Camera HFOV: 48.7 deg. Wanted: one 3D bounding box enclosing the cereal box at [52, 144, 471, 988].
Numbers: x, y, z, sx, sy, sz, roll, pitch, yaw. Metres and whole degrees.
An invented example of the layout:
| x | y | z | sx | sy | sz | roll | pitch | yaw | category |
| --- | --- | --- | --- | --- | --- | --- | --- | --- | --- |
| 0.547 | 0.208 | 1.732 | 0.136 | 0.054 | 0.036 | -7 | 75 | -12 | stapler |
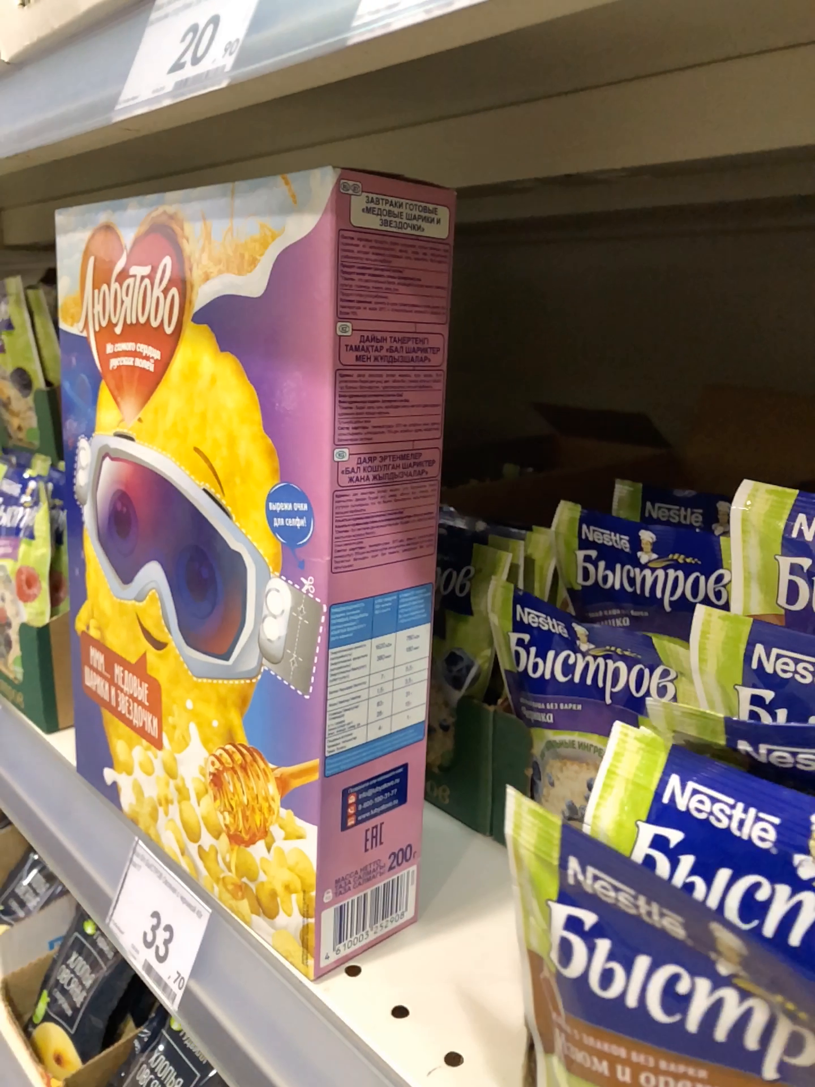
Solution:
| x | y | z | sx | sy | sz | roll | pitch | yaw | category |
| --- | --- | --- | --- | --- | --- | --- | --- | --- | --- |
| -0.072 | -0.003 | 0.357 | 0.050 | 0.259 | 0.200 | -9 | 17 | -41 | cereal box |
